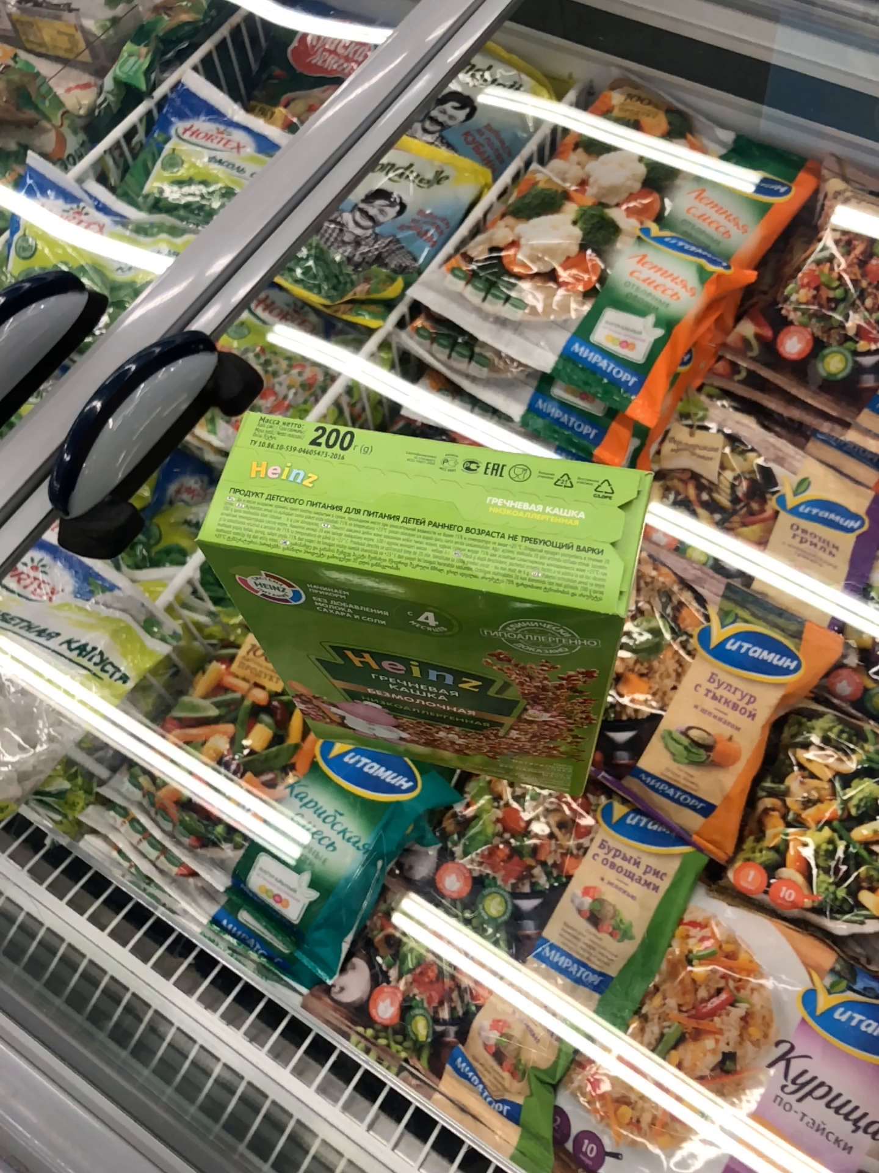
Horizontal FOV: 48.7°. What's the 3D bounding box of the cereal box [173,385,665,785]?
[{"bbox_3d":[0.000,0.012,0.376,0.140,0.189,0.050,11,65,10],"label":"cereal box"}]
